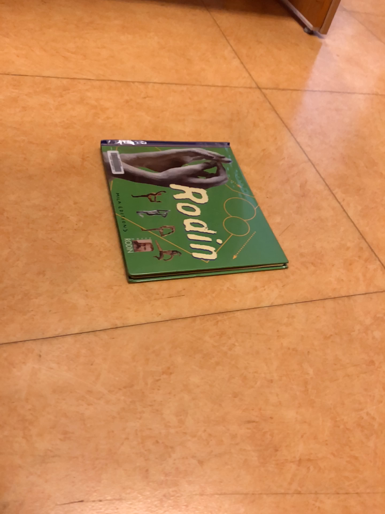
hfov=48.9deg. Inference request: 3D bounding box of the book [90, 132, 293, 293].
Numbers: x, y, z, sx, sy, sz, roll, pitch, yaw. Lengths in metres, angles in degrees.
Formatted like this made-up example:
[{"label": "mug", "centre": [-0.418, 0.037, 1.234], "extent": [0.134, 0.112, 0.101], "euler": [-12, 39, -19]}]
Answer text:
[{"label": "book", "centre": [-0.013, -0.072, 0.539], "extent": [0.201, 0.030, 0.244], "euler": [-4, 51, -19]}]
